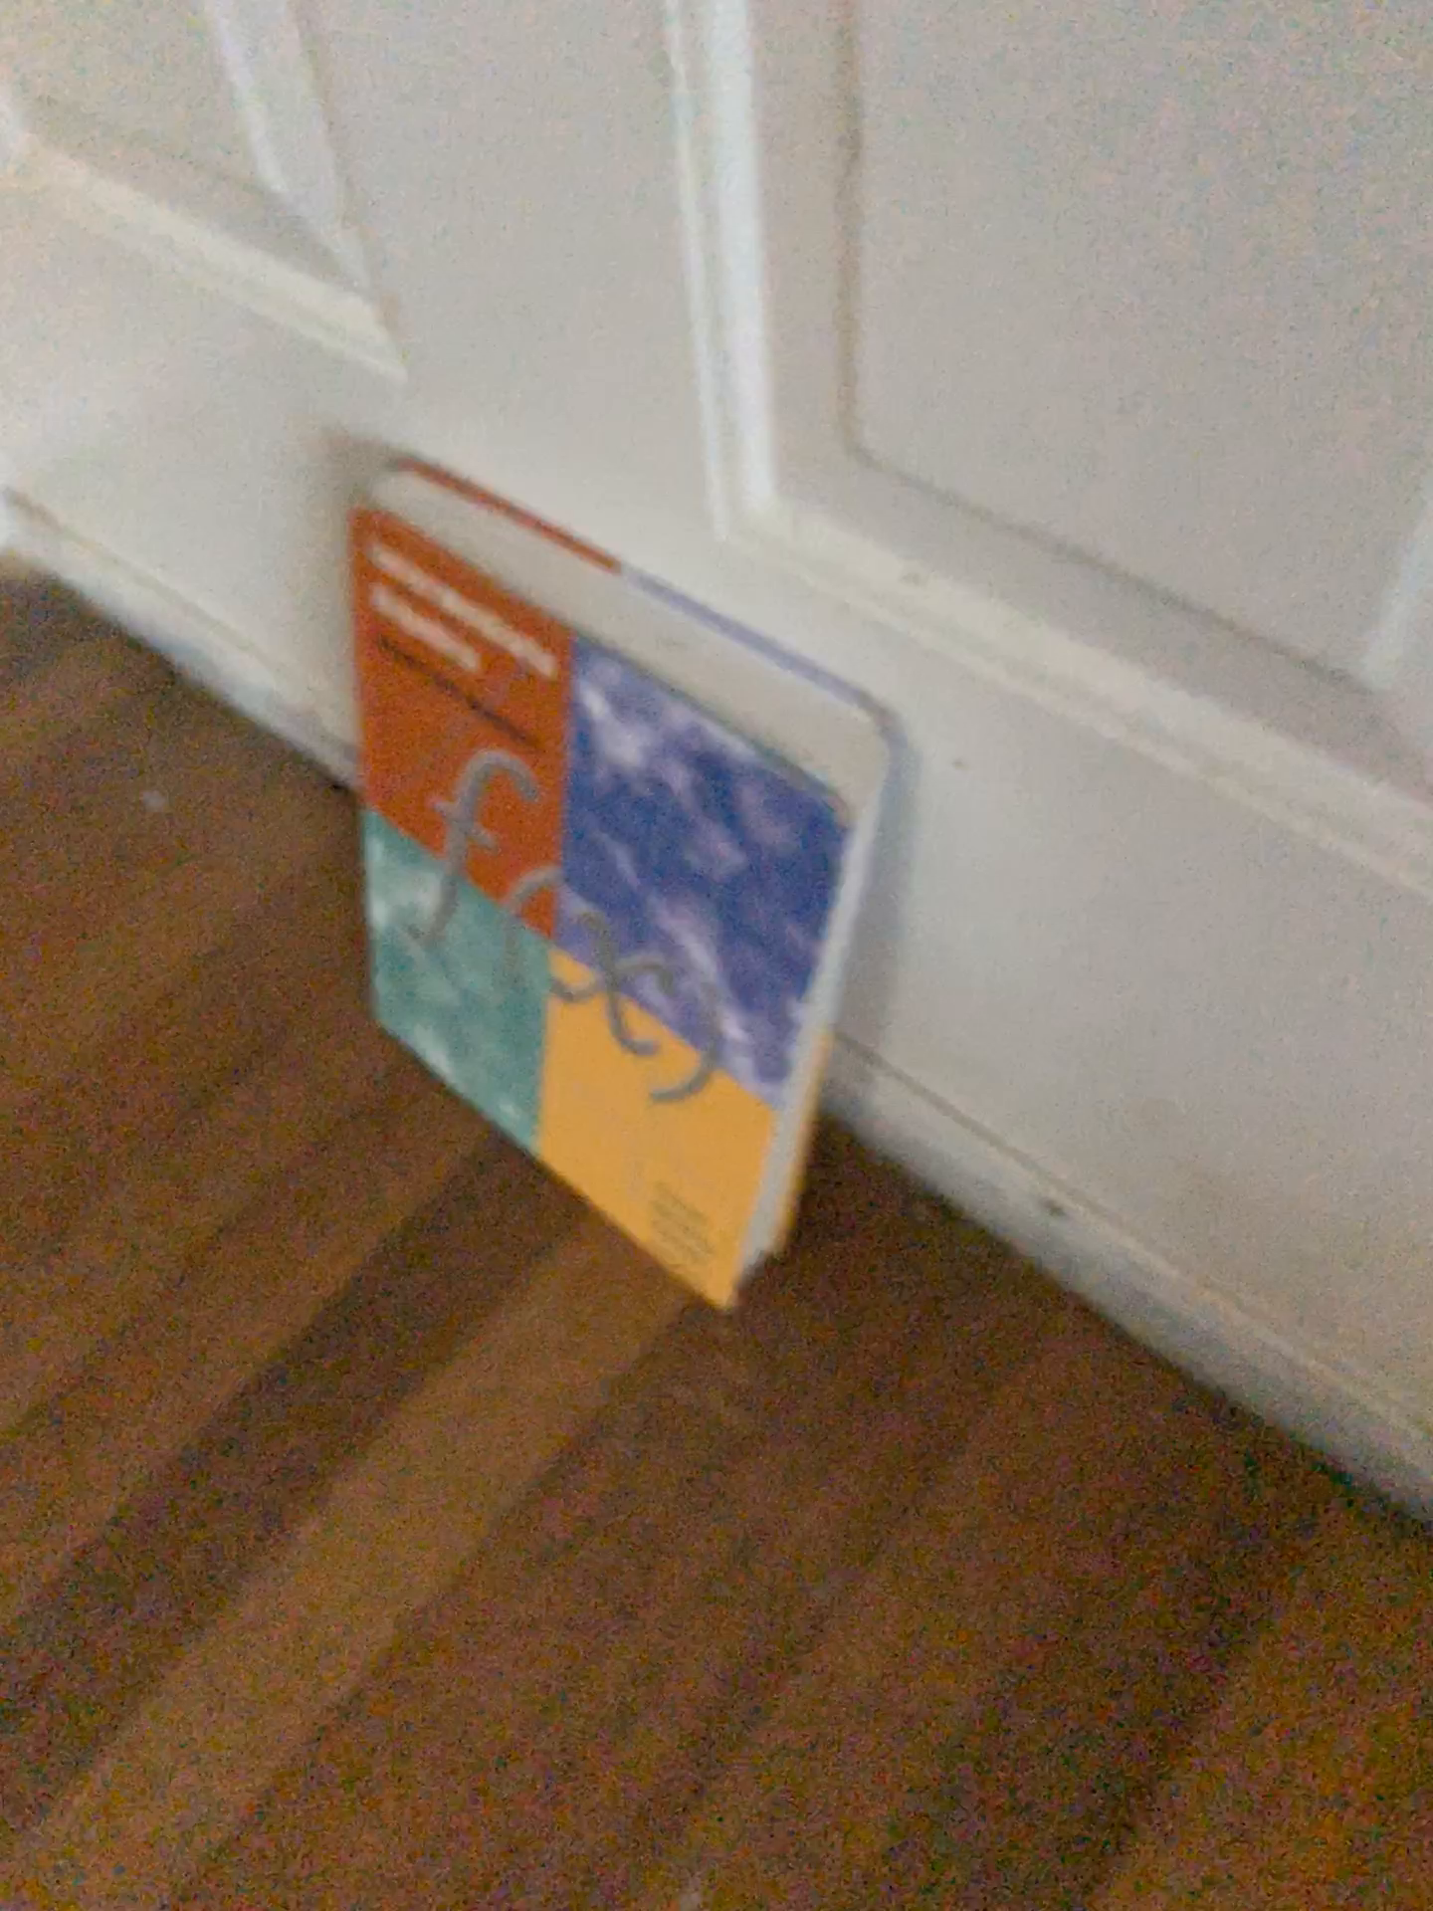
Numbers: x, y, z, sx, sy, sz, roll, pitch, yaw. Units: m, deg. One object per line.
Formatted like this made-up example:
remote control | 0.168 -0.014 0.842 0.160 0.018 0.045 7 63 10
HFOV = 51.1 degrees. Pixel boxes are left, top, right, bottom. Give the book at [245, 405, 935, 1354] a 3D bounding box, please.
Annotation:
book | -0.058 -0.022 0.522 0.231 0.249 0.060 36 50 27
